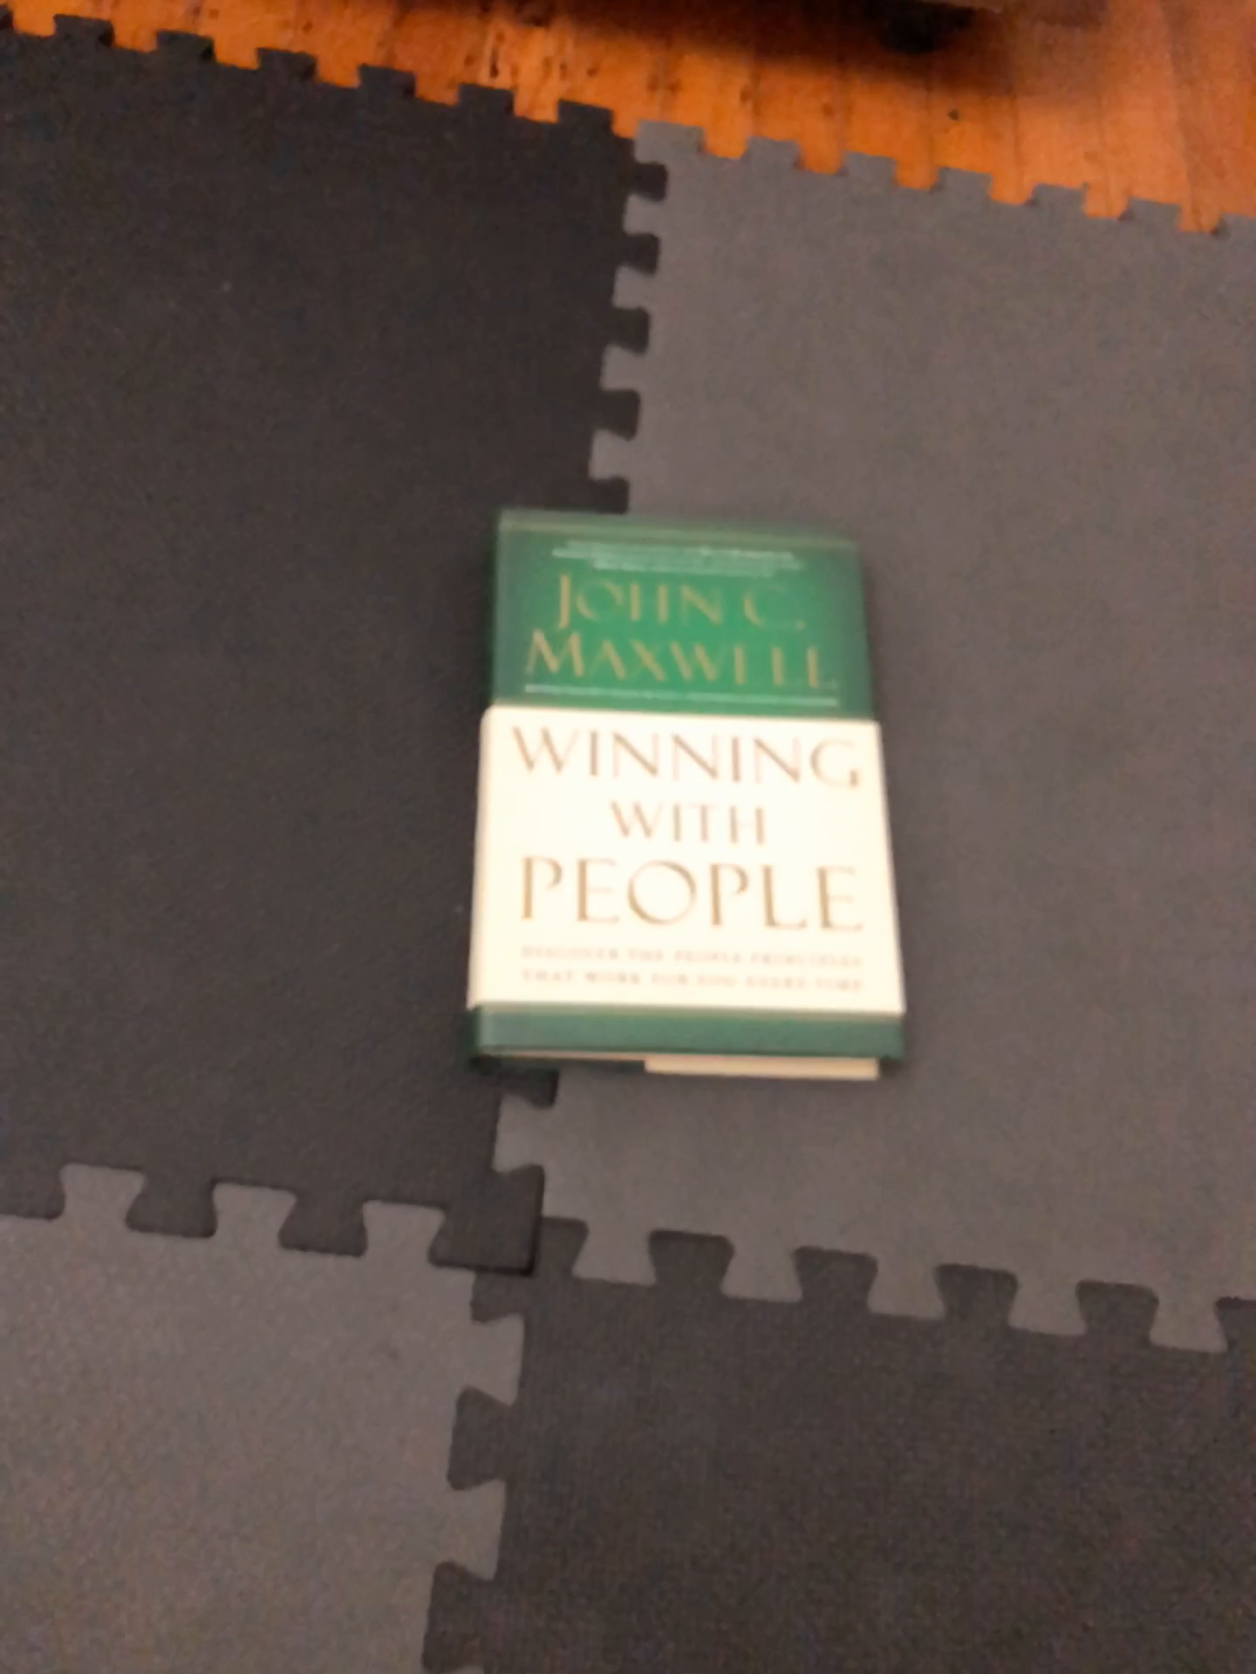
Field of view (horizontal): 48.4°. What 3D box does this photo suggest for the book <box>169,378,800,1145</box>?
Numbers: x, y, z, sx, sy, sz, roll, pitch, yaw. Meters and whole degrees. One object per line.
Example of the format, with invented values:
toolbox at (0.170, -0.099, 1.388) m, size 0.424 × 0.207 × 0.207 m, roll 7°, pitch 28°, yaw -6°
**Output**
book at (-0.040, -0.039, 0.521) m, size 0.200 × 0.030 × 0.291 m, roll 5°, pitch 64°, yaw -5°
